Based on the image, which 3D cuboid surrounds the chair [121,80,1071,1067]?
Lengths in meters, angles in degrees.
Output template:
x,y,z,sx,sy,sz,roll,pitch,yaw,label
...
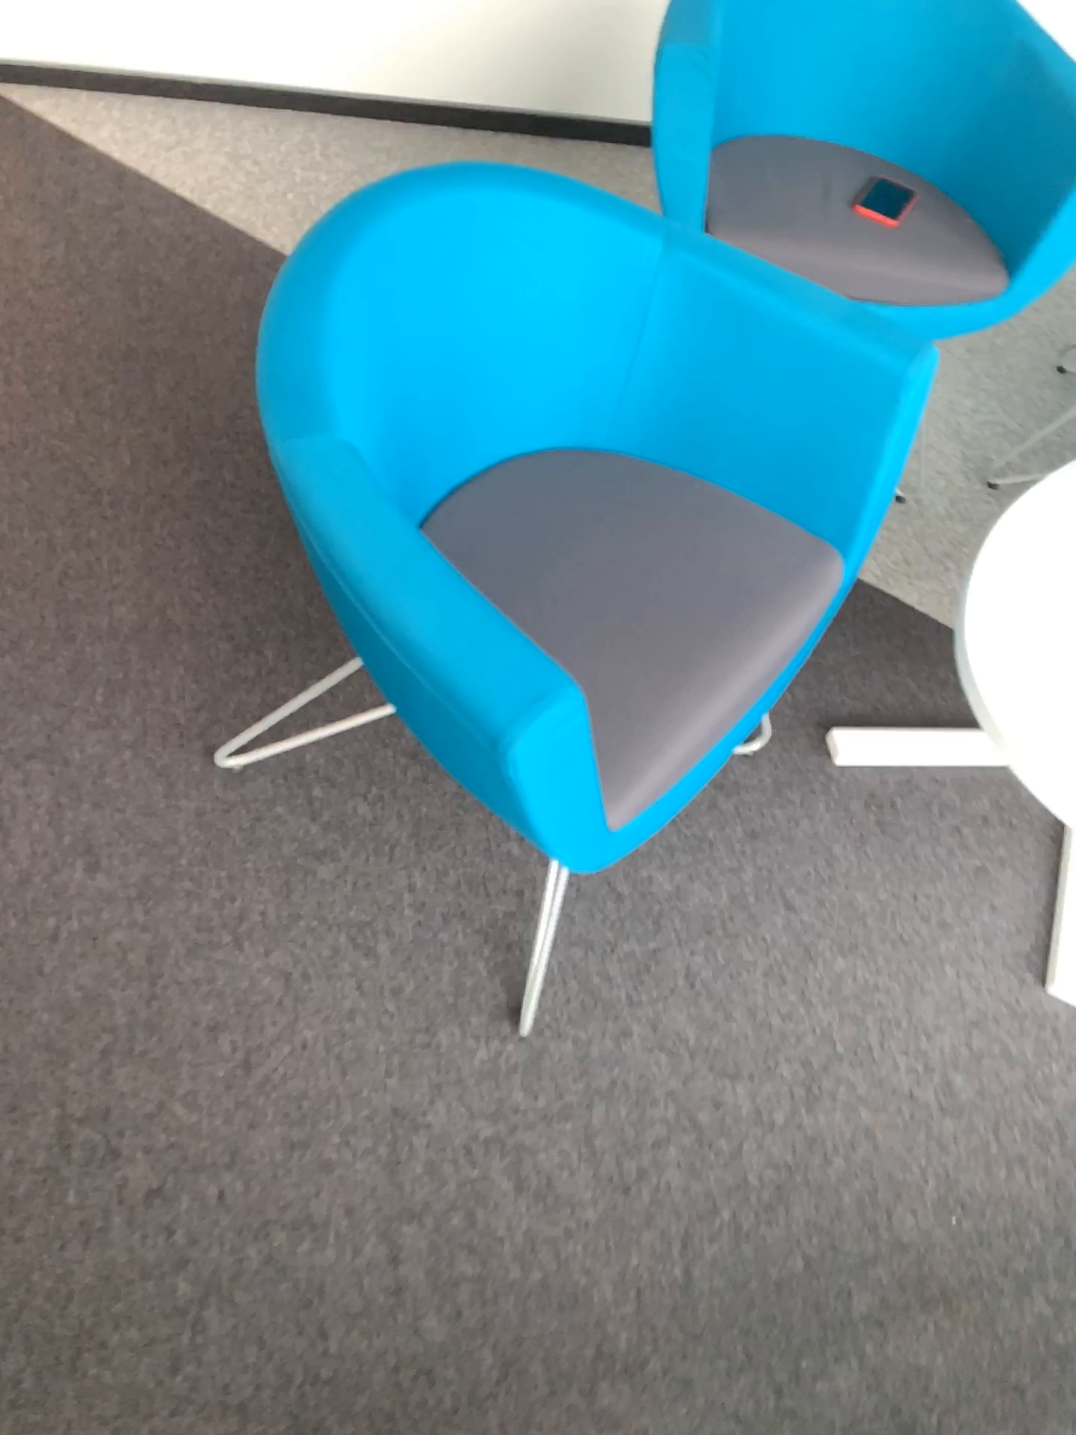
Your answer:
x,y,z,sx,sy,sz,roll,pitch,yaw,label
0.035,-0.165,1.345,0.640,0.757,0.713,38,55,14,chair
